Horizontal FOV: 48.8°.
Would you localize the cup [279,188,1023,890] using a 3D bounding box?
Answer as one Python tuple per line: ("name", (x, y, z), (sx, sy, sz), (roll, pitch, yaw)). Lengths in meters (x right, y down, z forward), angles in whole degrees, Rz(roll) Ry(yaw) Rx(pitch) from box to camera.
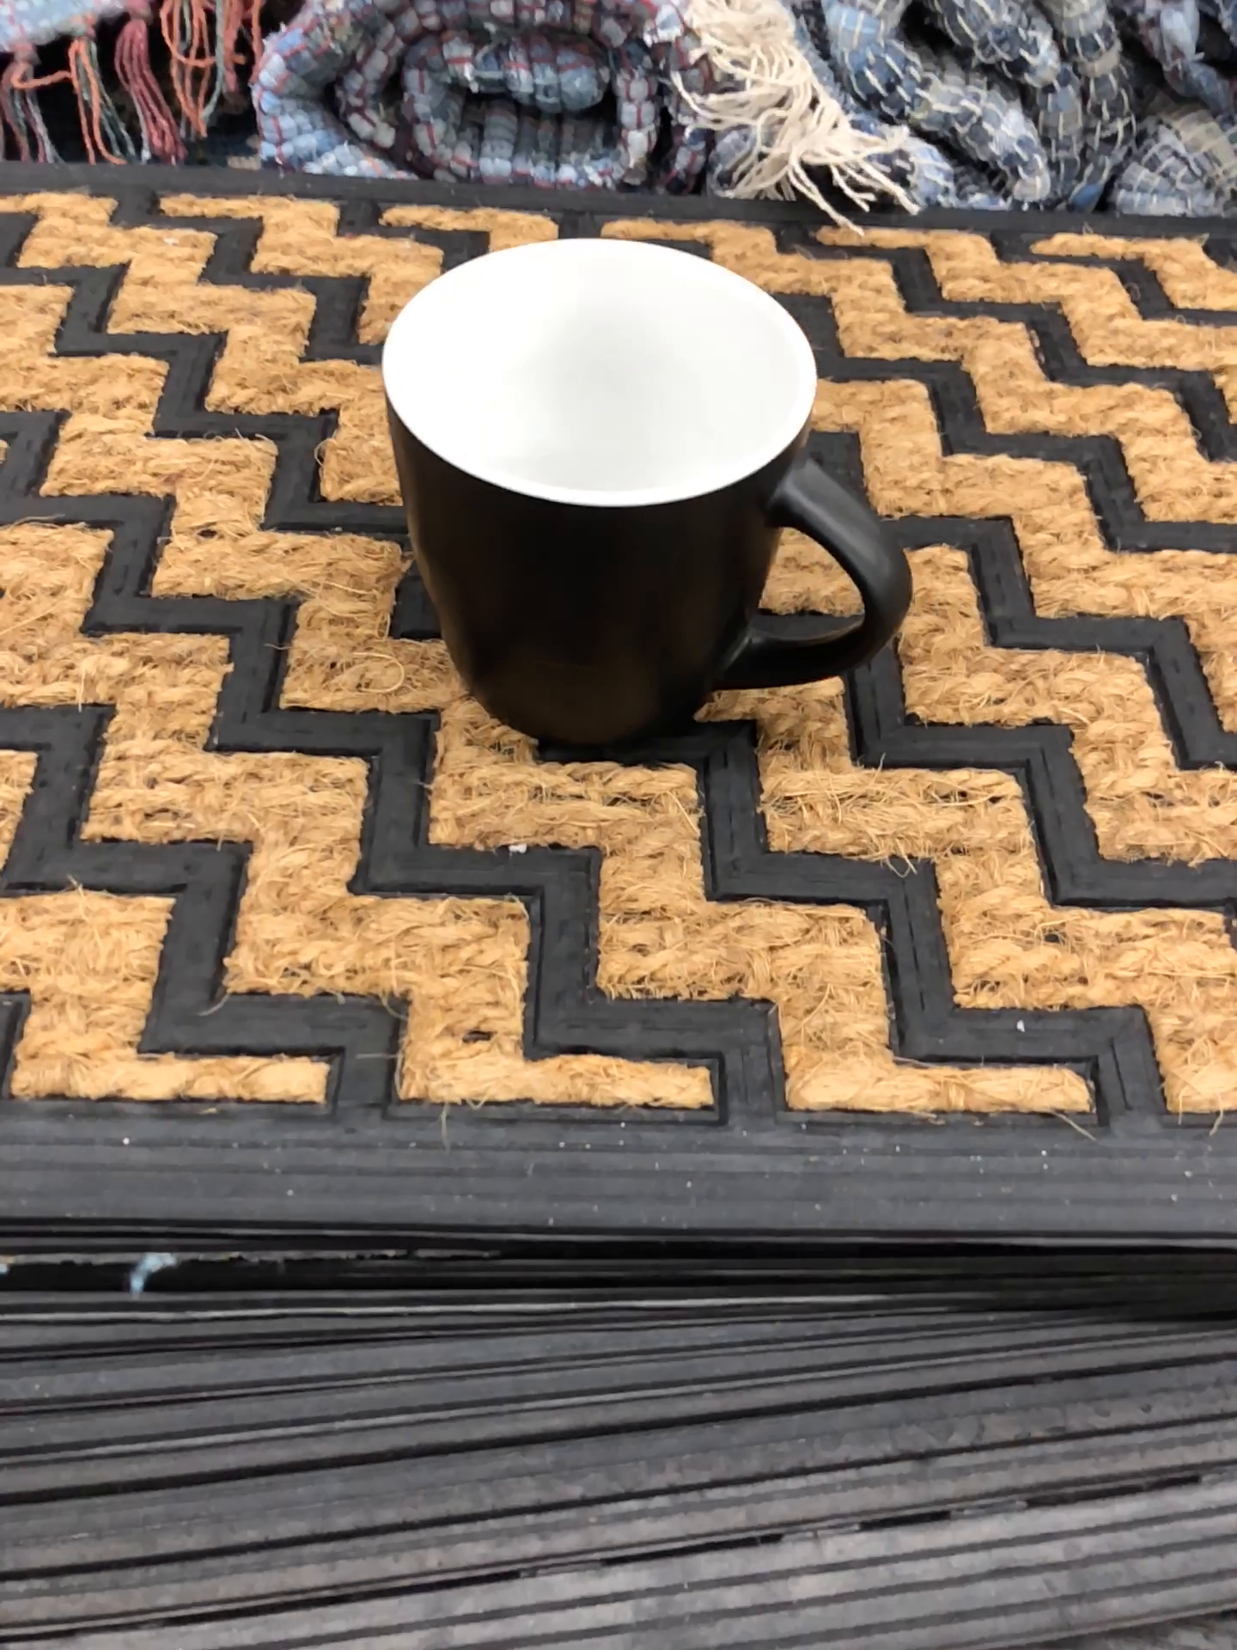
("cup", (0.007, -0.067, 0.310), (0.123, 0.081, 0.090), (28, 57, 17))
